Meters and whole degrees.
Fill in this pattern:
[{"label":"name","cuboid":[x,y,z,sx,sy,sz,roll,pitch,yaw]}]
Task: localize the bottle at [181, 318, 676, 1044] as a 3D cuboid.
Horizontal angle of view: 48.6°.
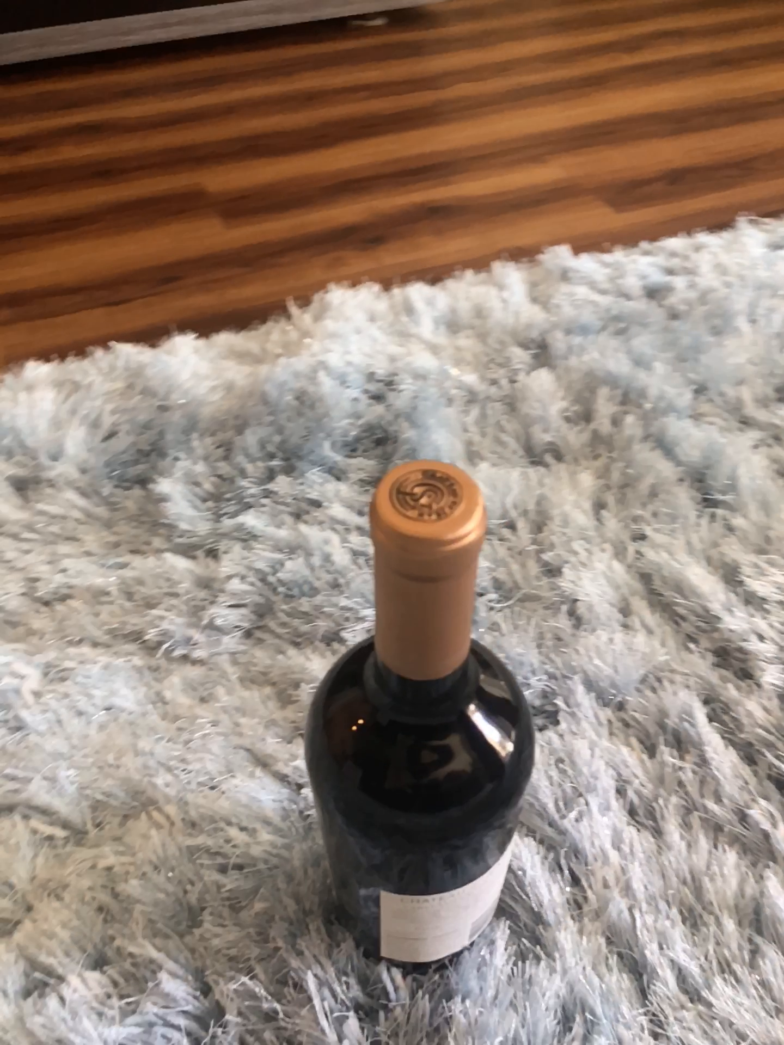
[{"label":"bottle","cuboid":[0.011,0.089,0.322,0.090,0.298,0.090,-1,44,1]}]
